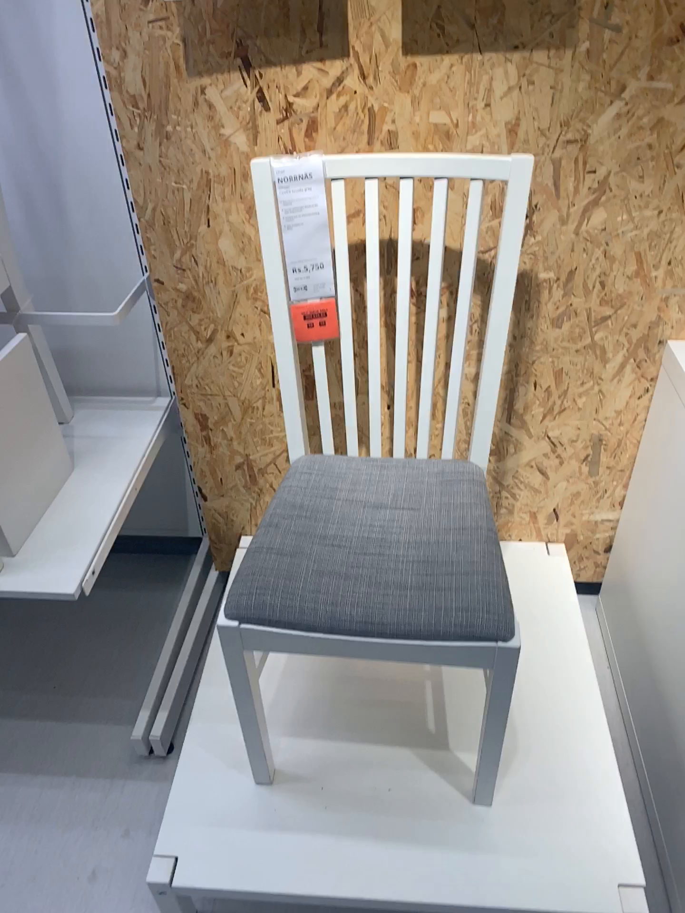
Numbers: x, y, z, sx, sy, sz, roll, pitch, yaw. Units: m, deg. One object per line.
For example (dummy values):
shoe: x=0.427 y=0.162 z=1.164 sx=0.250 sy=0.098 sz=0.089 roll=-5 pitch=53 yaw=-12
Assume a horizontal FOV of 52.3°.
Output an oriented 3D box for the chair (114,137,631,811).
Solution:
chair: x=0.073 y=0.037 z=1.136 sx=0.470 sy=0.896 sz=0.592 roll=3 pitch=38 yaw=7
